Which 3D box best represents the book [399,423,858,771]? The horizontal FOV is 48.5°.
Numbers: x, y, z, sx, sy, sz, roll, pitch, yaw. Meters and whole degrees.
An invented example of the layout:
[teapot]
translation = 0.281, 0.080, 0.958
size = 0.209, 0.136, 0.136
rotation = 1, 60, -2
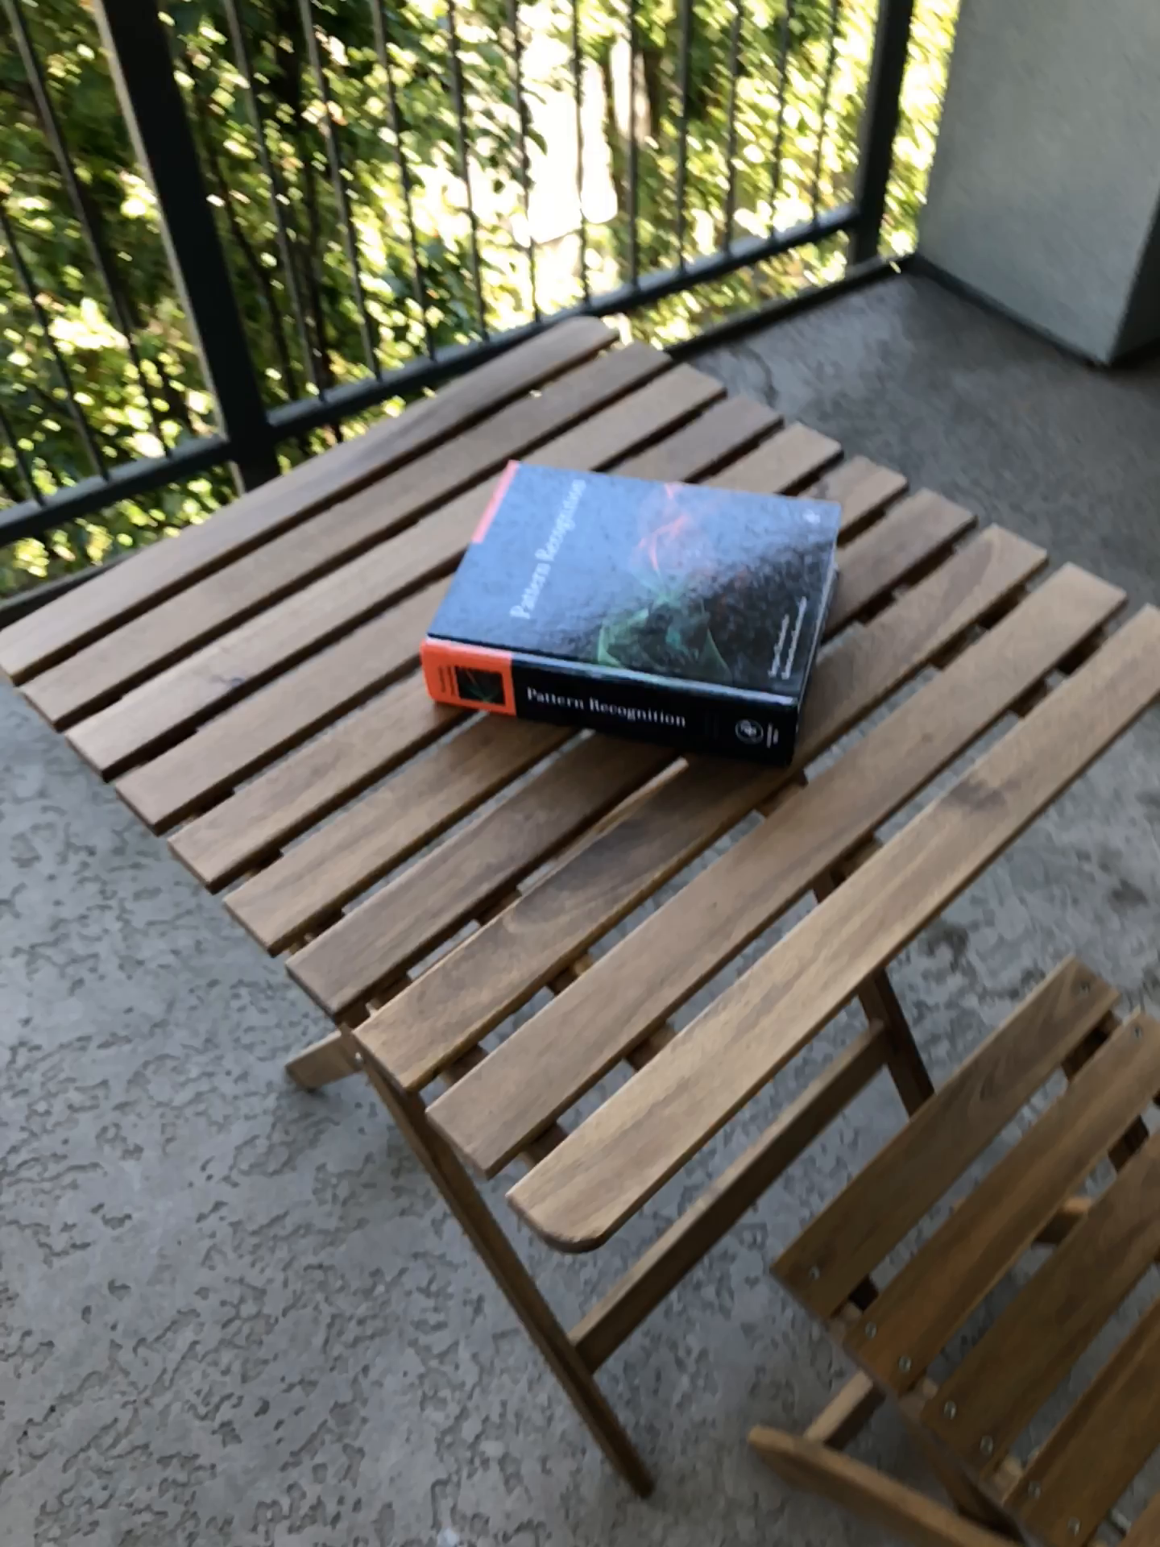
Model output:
[book]
translation = 0.040, -0.126, 0.855
size = 0.250, 0.070, 0.211
rotation = 11, 51, 12
